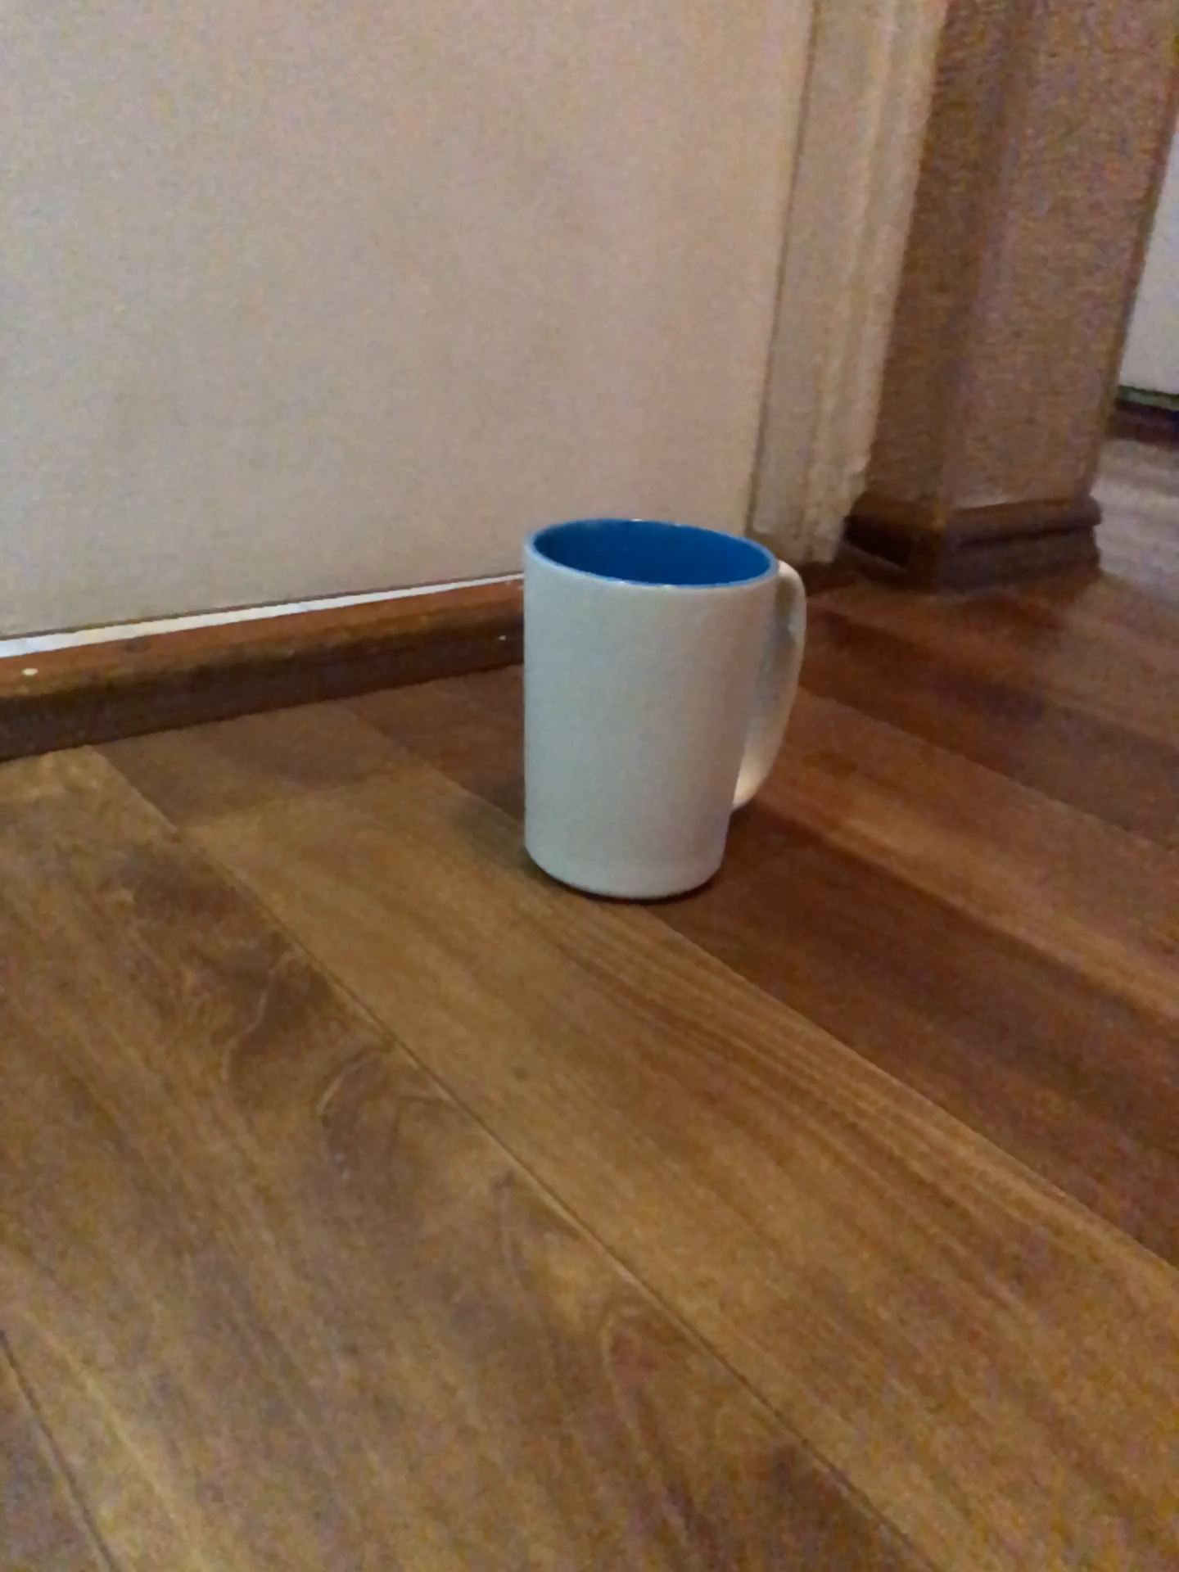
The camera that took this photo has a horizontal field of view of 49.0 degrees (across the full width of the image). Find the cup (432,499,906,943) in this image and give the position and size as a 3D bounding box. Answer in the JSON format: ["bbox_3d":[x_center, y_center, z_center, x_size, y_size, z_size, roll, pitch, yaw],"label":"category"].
[{"bbox_3d":[0.025,-0.031,0.456,0.130,0.112,0.089,-13,30,-34],"label":"cup"}]
